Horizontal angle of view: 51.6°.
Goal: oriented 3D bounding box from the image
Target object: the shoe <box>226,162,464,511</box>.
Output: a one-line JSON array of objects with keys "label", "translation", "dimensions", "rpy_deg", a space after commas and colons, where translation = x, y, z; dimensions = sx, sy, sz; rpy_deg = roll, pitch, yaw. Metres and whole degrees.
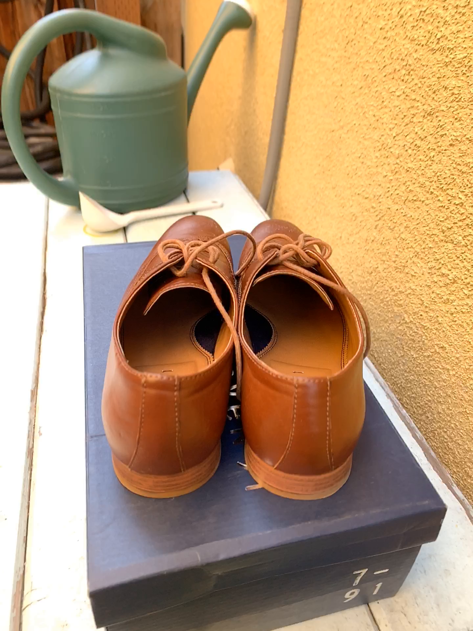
[{"label": "shoe", "translation": [0.053, -0.016, 0.384], "dimensions": [0.110, 0.099, 0.303], "rpy_deg": [3, 37, -1]}]

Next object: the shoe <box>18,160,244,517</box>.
[{"label": "shoe", "translation": [-0.050, -0.015, 0.377], "dimensions": [0.104, 0.099, 0.303], "rpy_deg": [3, 37, -1]}]
